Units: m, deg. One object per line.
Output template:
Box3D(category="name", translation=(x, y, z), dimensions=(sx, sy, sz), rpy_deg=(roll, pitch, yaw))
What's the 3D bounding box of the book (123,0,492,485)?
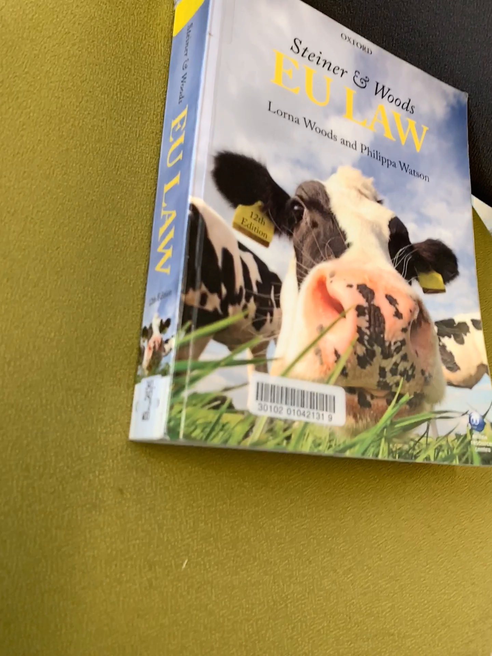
Box3D(category="book", translation=(0.053, -0.055, 0.268), dimensions=(0.200, 0.050, 0.261), rpy_deg=(11, 70, -28))
